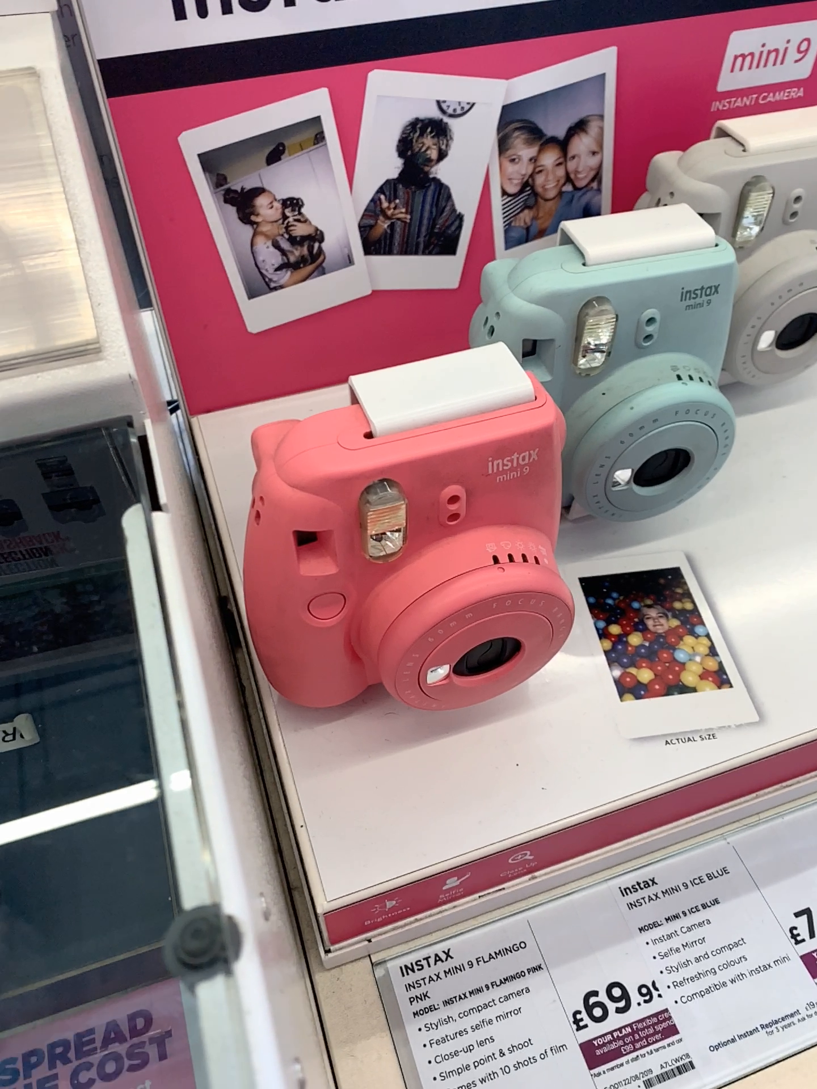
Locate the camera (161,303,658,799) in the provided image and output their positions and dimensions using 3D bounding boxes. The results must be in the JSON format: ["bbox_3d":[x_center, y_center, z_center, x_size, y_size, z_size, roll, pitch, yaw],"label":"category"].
[{"bbox_3d":[-0.003,0.004,0.281,0.120,0.119,0.081,-15,50,-12],"label":"camera"}]
